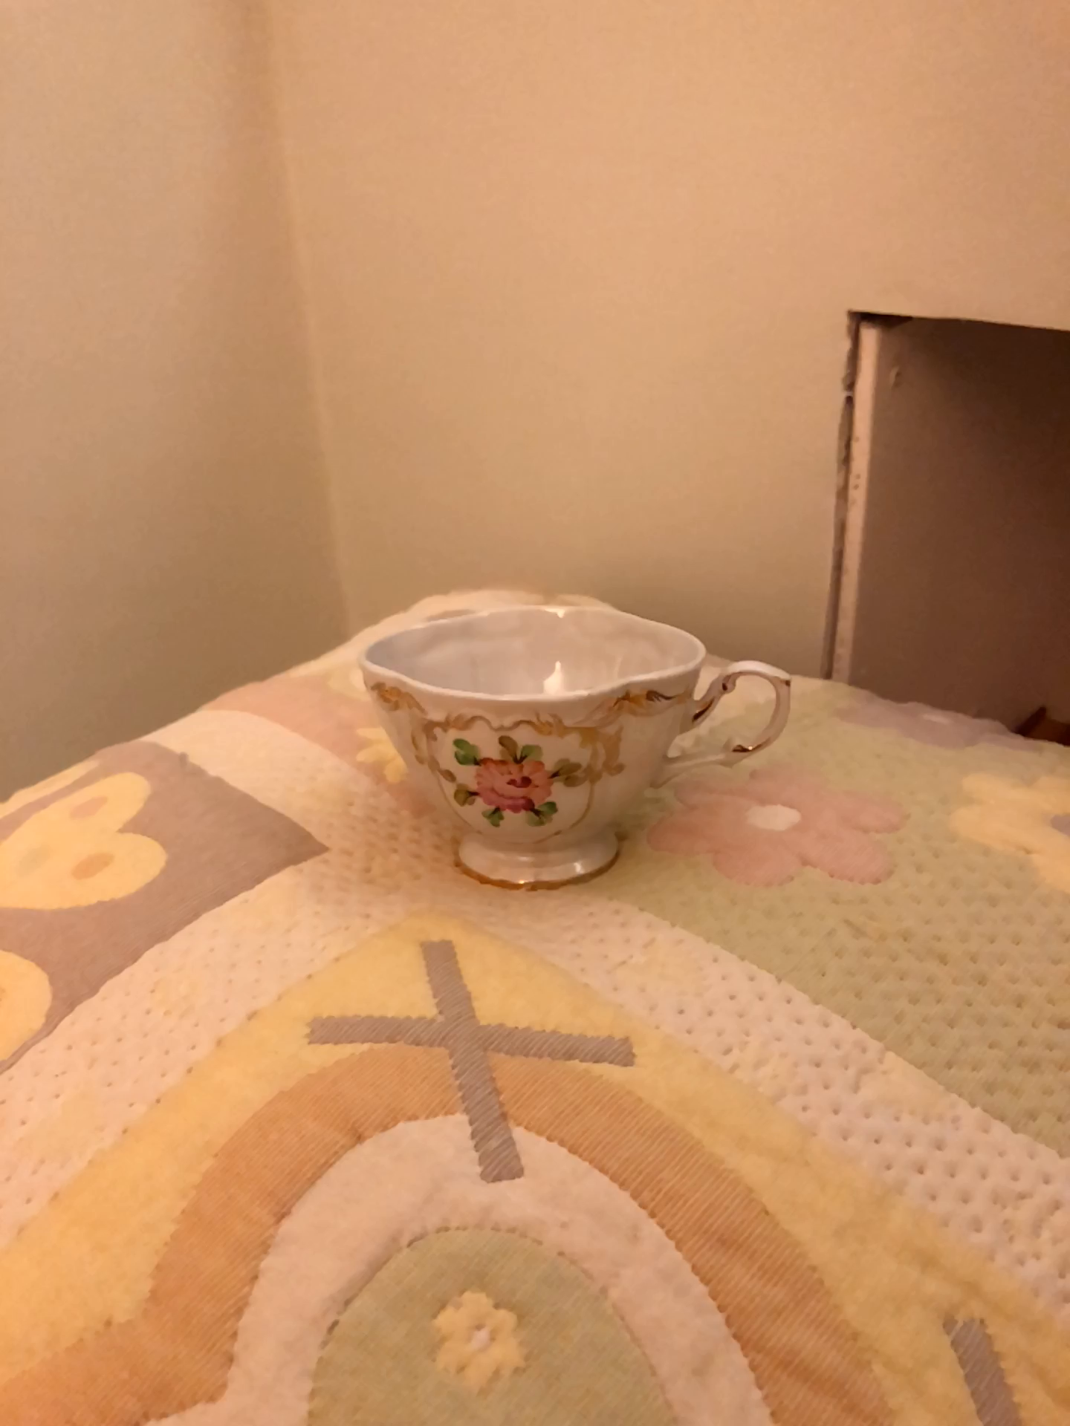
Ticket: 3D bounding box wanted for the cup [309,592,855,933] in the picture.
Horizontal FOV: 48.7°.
[{"bbox_3d":[0.017,0.009,0.361,0.140,0.070,0.100,0,19,6],"label":"cup"}]
